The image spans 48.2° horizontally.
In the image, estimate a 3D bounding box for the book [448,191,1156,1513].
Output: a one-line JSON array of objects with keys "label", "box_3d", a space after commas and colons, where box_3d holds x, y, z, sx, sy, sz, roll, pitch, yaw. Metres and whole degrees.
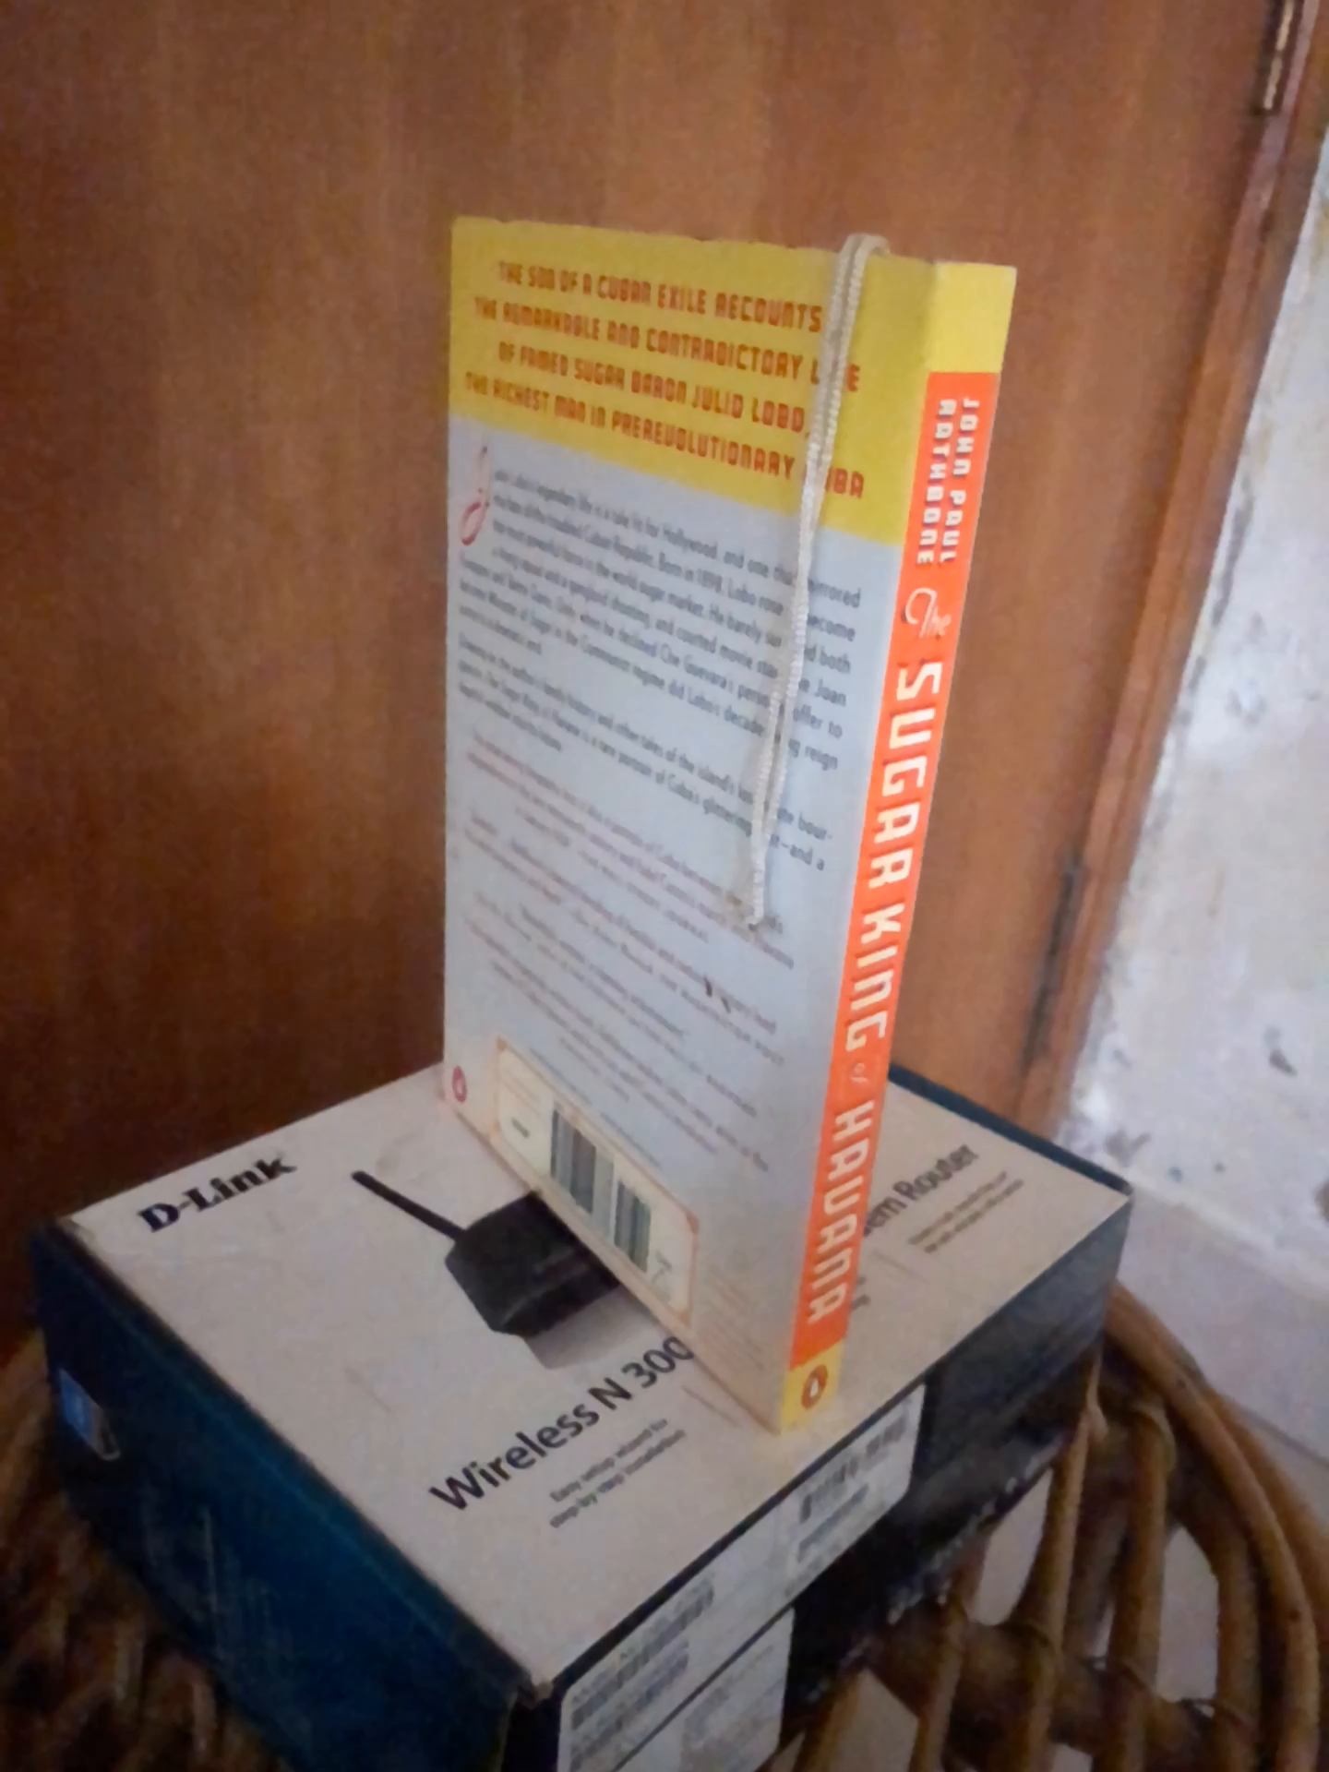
[{"label": "book", "box_3d": [0.004, -0.014, 0.287, 0.030, 0.209, 0.150, -12, 31, -30]}]
